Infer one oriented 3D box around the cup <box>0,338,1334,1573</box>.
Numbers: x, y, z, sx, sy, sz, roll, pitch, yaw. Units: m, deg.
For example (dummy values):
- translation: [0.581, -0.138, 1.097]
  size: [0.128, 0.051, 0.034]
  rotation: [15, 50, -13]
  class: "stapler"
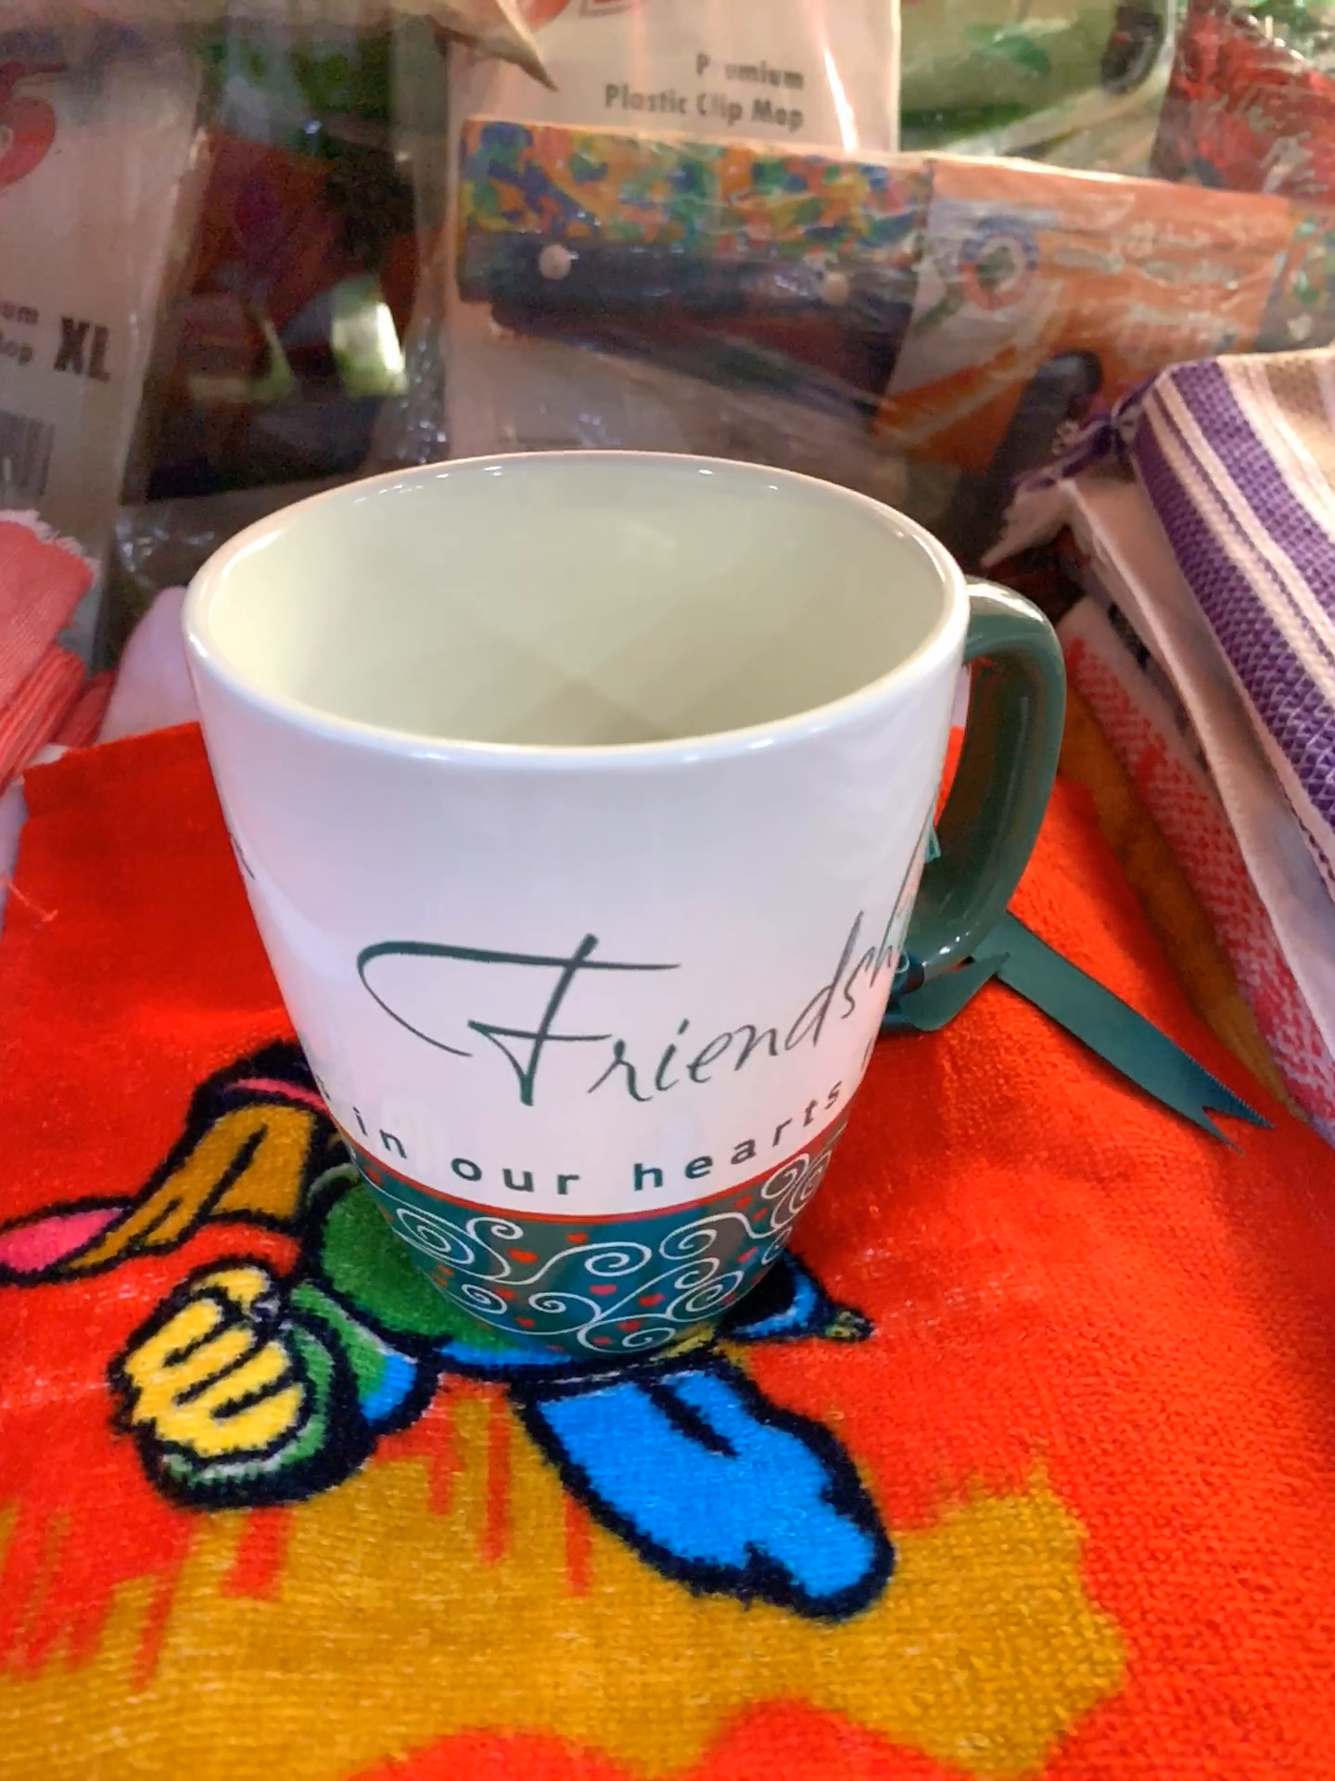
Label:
- translation: [-0.003, -0.006, 0.197]
  size: [0.132, 0.094, 0.101]
  rotation: [-23, 42, -27]
  class: "cup"
